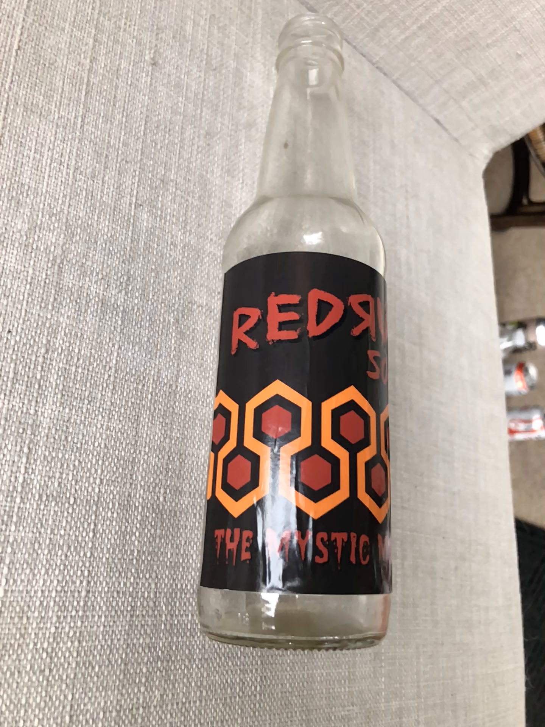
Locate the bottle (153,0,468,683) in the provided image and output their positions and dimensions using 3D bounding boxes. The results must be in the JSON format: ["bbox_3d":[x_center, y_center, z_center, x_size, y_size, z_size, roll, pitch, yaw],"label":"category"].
[{"bbox_3d":[0.016,-0.027,0.213,0.063,0.069,0.231,16,70,-38],"label":"bottle"}]
